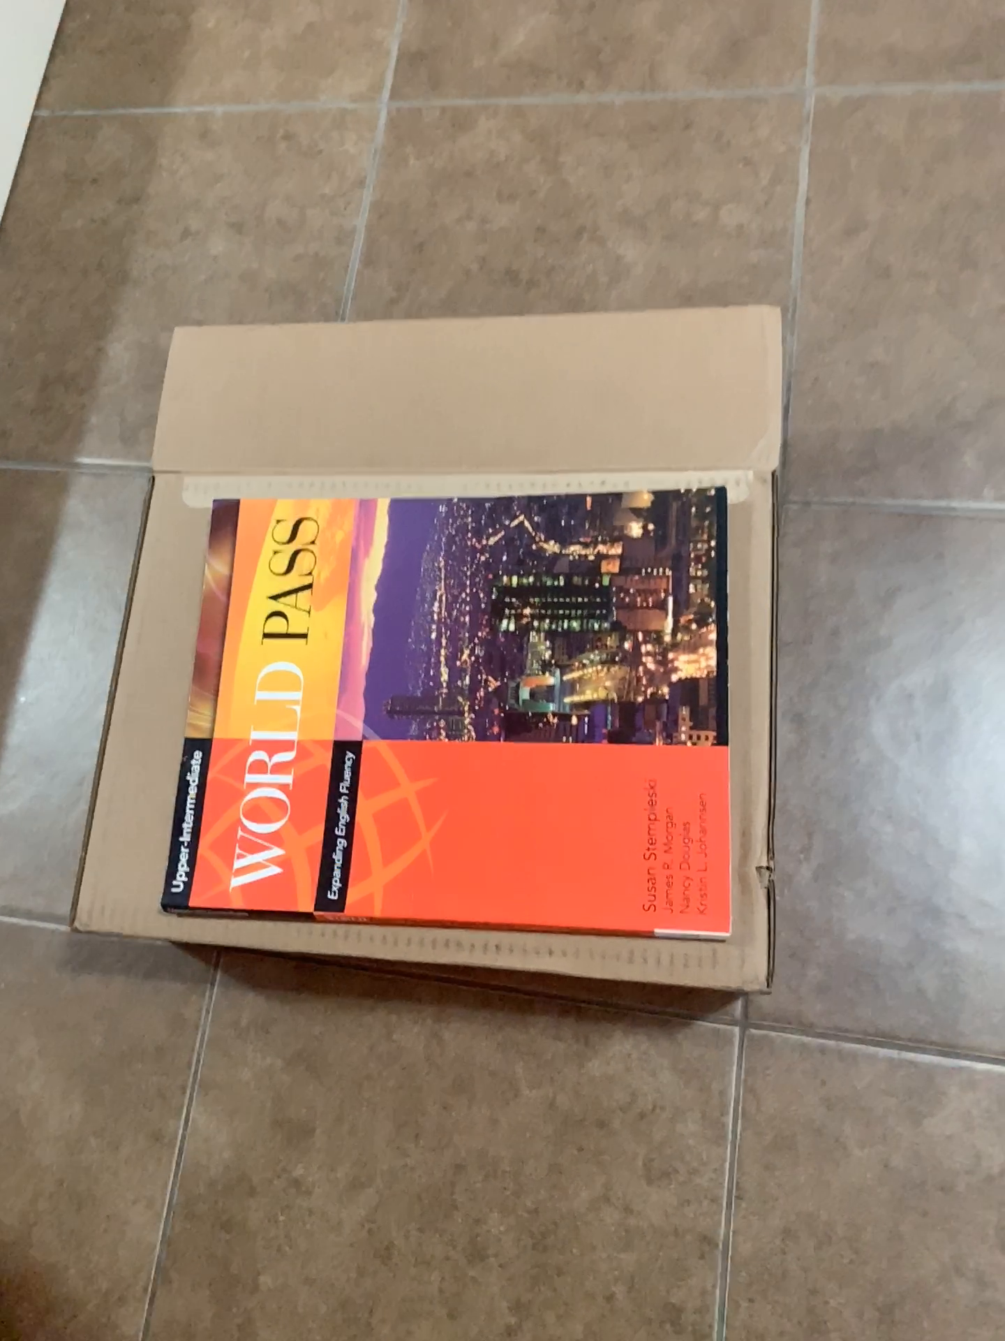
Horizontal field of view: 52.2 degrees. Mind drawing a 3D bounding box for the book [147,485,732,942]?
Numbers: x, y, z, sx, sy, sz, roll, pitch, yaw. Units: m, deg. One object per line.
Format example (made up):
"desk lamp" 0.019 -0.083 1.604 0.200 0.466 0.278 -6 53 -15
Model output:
"book" -0.028 0.015 0.496 0.270 0.018 0.211 0 75 11
